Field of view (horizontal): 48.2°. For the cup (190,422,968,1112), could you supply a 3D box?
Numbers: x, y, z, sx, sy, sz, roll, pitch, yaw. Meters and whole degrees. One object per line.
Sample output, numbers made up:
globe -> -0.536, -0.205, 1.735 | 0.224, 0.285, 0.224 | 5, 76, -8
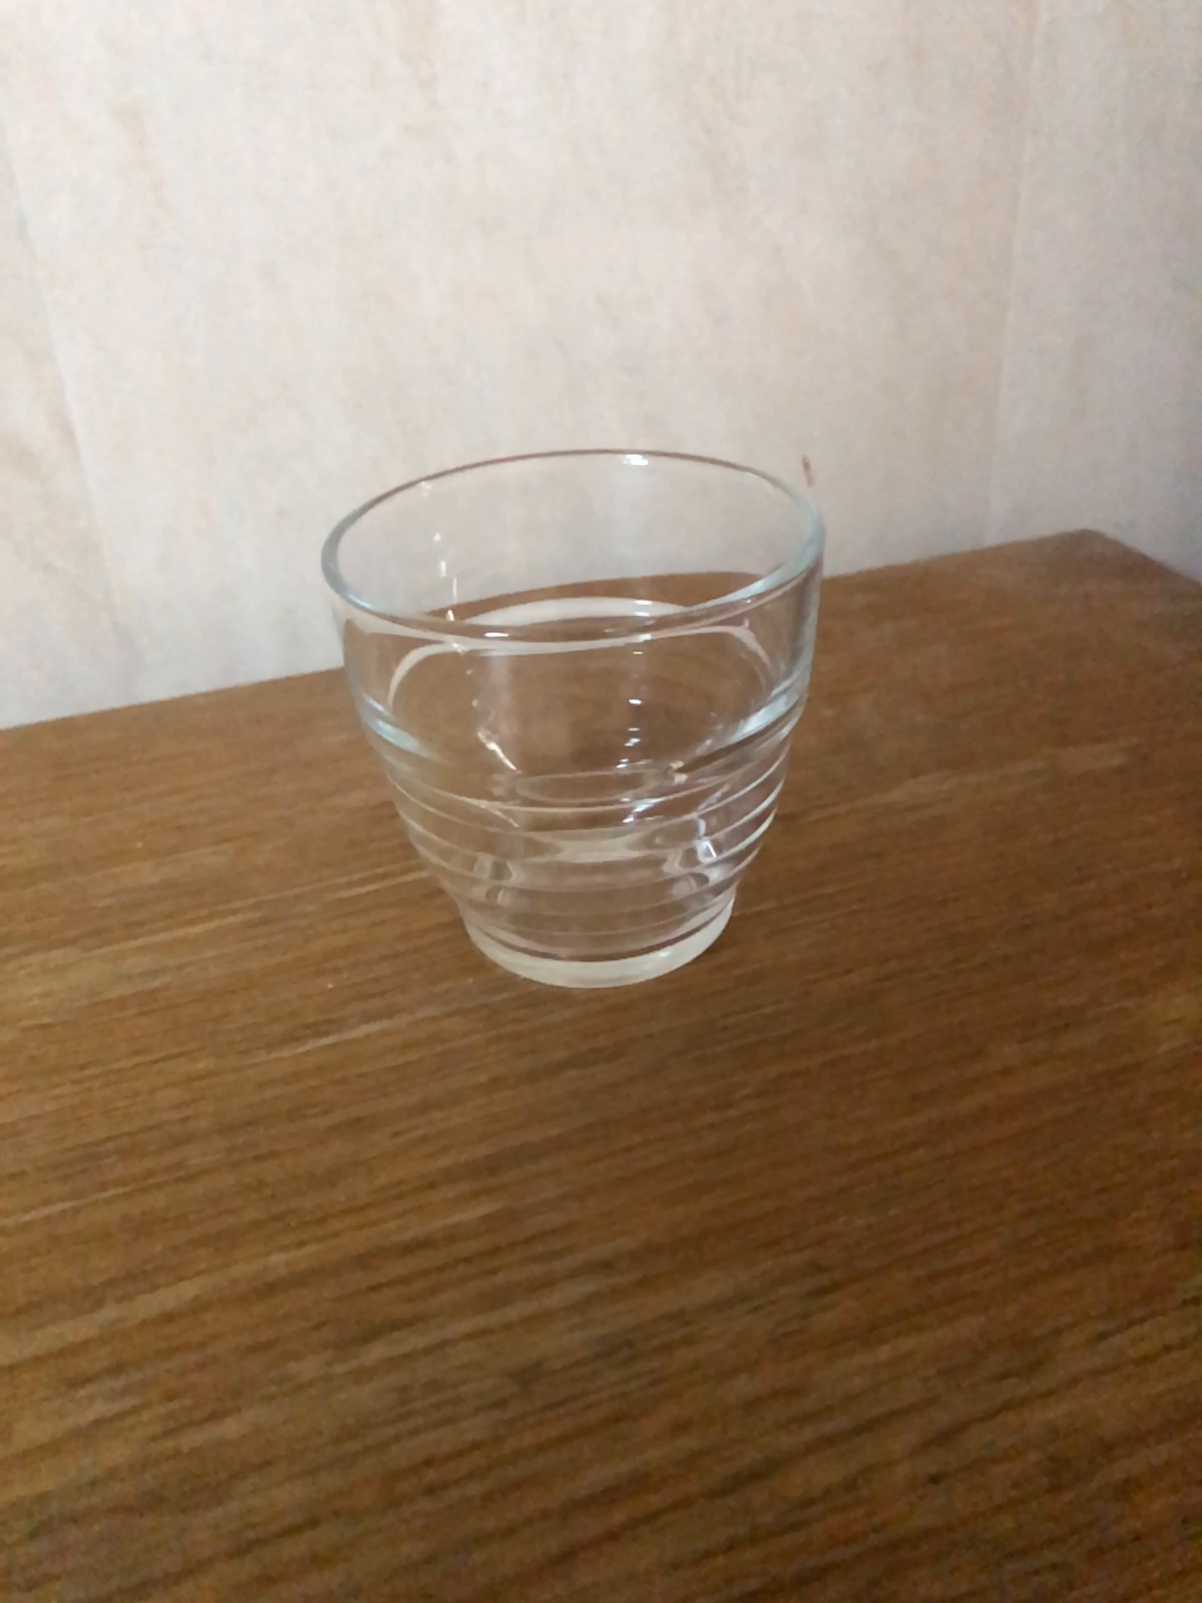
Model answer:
cup -> -0.003, -0.014, 0.209 | 0.080, 0.060, 0.080 | -2, 30, 1
